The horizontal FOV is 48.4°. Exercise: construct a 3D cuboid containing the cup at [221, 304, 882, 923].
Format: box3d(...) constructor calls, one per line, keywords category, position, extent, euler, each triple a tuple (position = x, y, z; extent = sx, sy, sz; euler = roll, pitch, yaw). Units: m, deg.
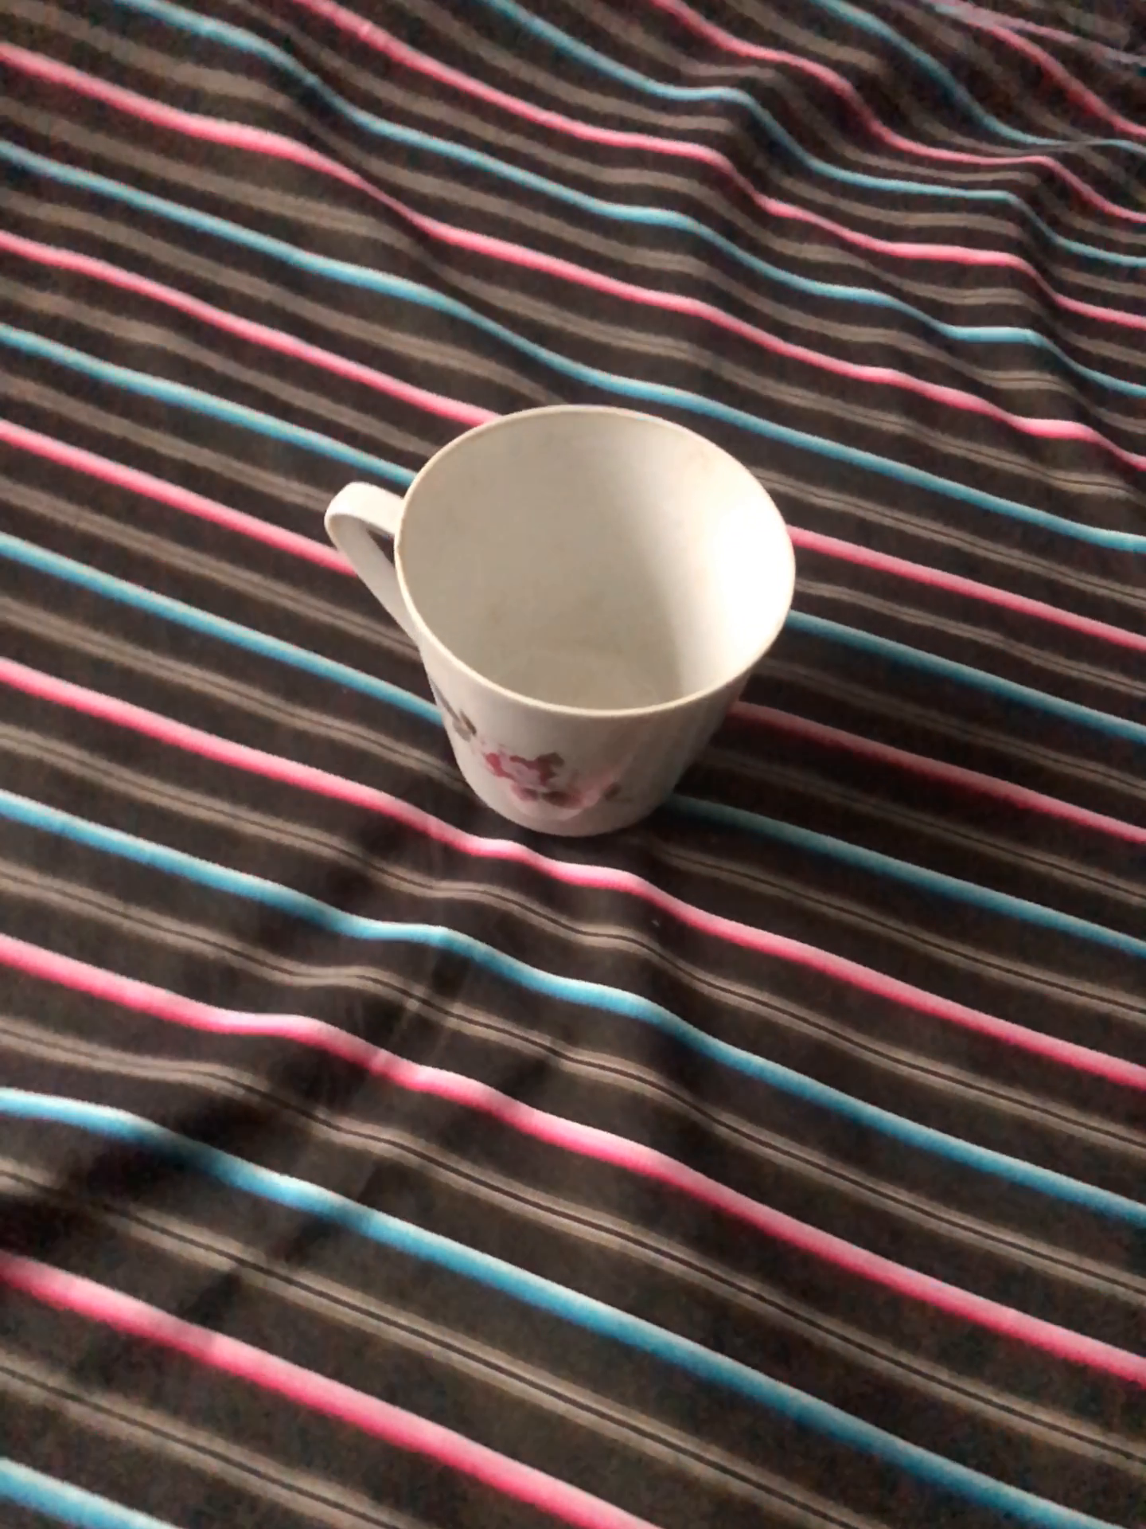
box3d(category="cup", position=(-0.004, -0.031, 0.250), extent=(0.094, 0.049, 0.073), euler=(30, 62, 13))
